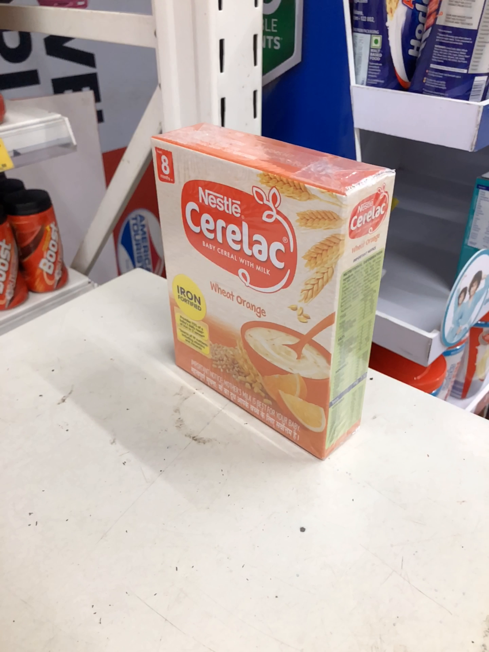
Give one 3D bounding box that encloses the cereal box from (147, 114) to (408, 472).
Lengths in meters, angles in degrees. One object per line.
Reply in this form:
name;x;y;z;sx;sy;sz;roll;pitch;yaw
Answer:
cereal box;0.014;-0.025;0.373;0.160;0.199;0.050;28;45;36
